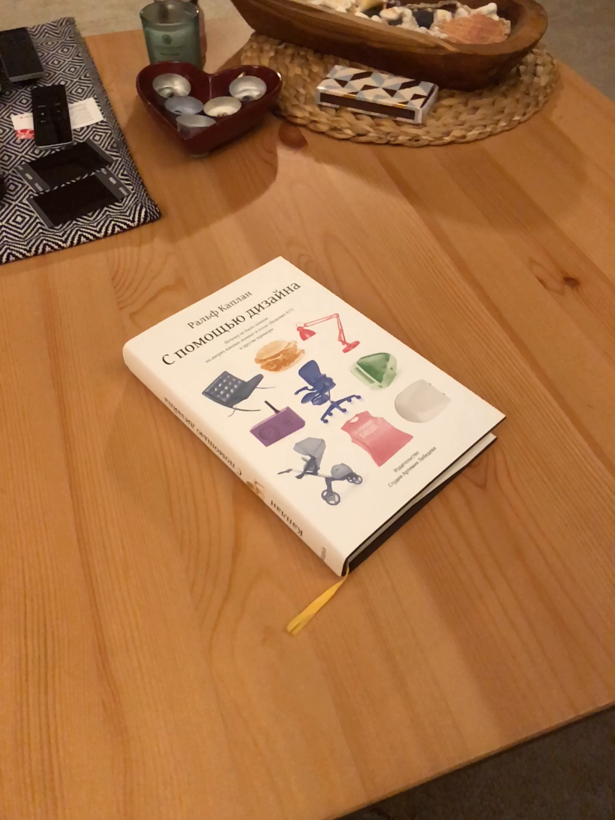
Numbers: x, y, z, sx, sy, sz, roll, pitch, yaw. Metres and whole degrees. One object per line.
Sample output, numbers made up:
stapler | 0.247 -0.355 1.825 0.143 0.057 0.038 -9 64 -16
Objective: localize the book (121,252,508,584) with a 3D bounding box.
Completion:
book | 0.000 -0.012 0.479 0.152 0.034 0.226 -36 60 -26
